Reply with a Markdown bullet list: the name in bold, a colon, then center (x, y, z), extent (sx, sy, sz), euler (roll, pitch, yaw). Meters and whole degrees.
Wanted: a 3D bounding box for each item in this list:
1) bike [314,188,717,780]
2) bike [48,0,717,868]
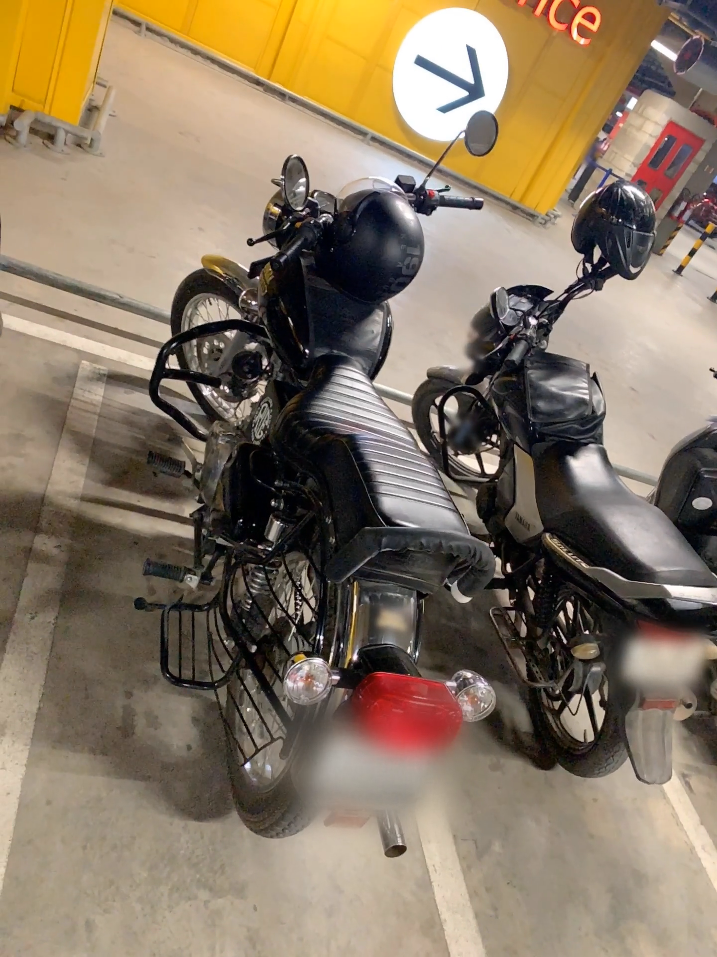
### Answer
- **bike**: center (0.482, -0.105, 2.294), extent (0.599, 0.924, 1.724), euler (13, 32, -26)
- **bike**: center (-0.233, -0.248, 1.807), extent (0.765, 1.050, 1.829), euler (11, 35, -30)
